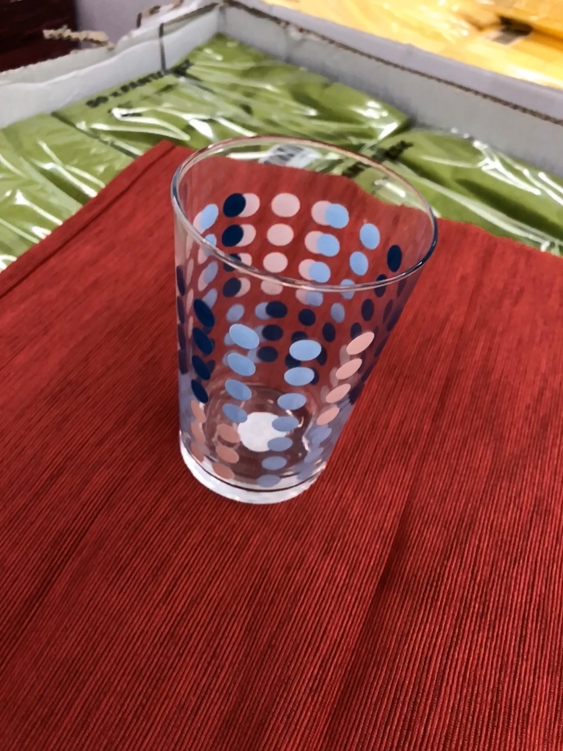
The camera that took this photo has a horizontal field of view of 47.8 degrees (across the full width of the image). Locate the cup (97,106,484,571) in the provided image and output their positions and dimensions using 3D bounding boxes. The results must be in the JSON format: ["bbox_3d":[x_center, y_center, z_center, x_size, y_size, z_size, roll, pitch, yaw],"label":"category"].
[{"bbox_3d":[0.001,-0.014,0.237,0.090,0.120,0.090,5,45,-5],"label":"cup"}]
